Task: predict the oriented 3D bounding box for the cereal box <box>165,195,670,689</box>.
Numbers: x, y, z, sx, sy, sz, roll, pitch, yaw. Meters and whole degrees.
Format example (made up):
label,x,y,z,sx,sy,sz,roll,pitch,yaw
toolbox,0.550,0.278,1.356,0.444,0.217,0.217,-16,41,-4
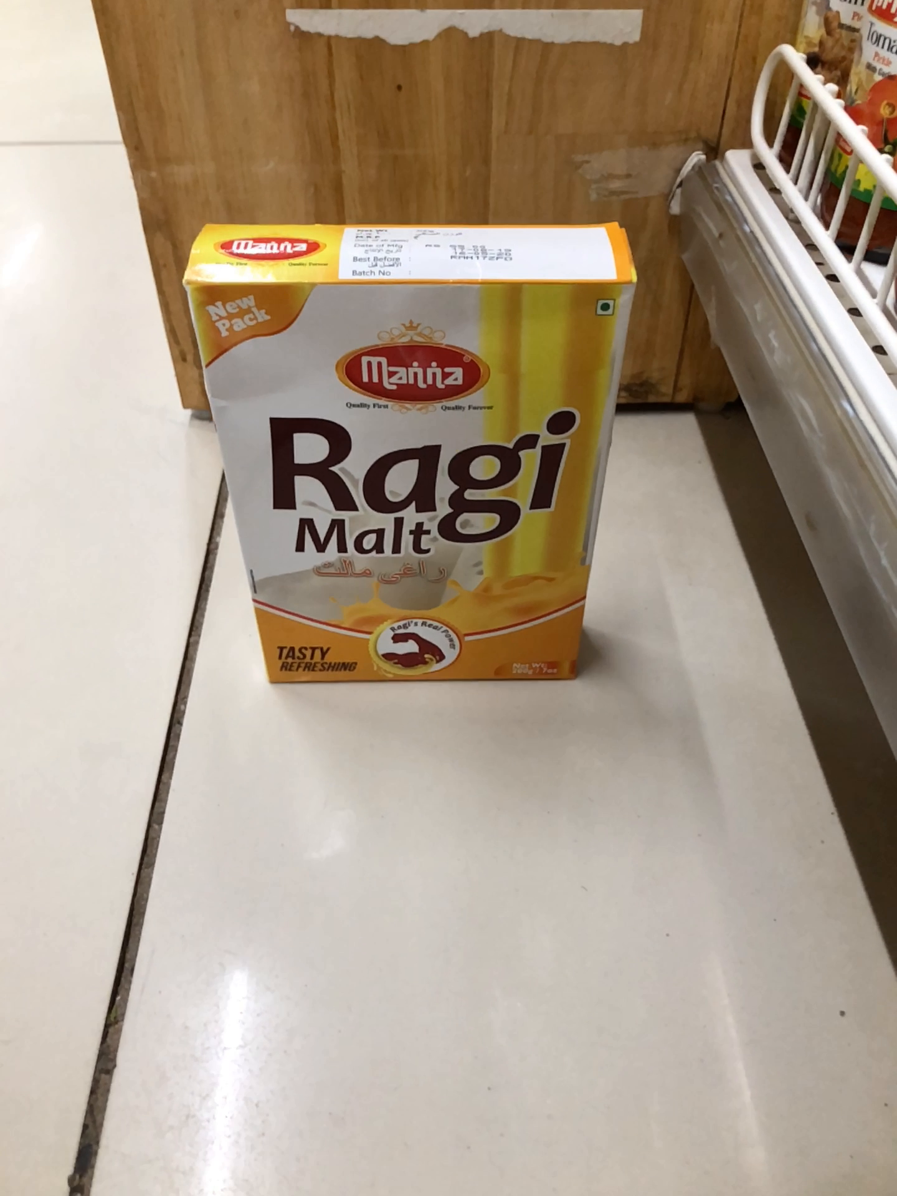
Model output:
label,x,y,z,sx,sy,sz,roll,pitch,yaw
cereal box,-0.006,-0.043,0.351,0.140,0.179,0.040,-1,43,2
